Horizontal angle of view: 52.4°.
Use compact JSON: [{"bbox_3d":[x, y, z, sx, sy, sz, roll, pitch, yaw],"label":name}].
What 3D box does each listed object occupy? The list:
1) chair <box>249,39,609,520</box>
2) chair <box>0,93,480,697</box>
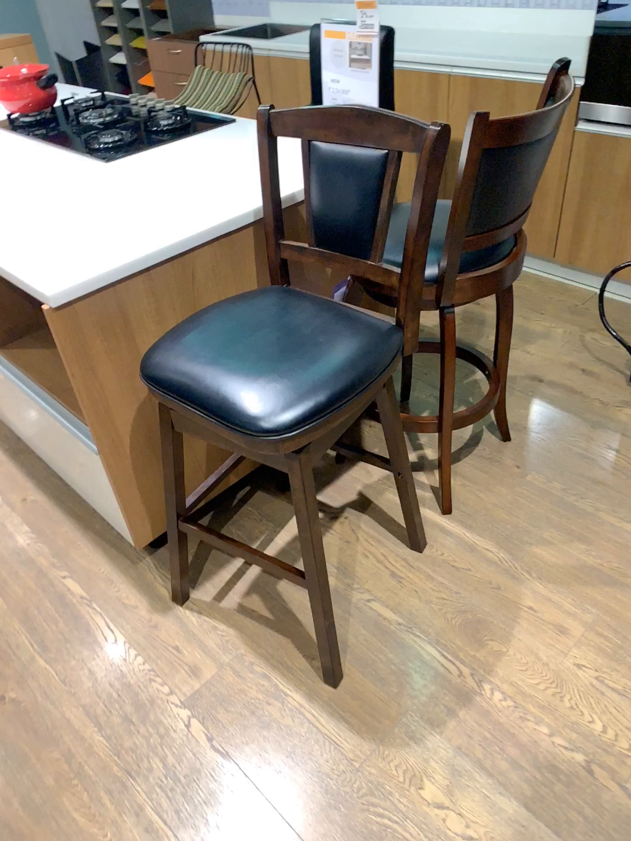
[{"bbox_3d":[0.288,-0.379,1.721,0.572,1.025,0.551,26,48,34],"label":"chair"},{"bbox_3d":[-0.074,-0.056,1.364,0.581,1.025,0.571,18,44,28],"label":"chair"}]
